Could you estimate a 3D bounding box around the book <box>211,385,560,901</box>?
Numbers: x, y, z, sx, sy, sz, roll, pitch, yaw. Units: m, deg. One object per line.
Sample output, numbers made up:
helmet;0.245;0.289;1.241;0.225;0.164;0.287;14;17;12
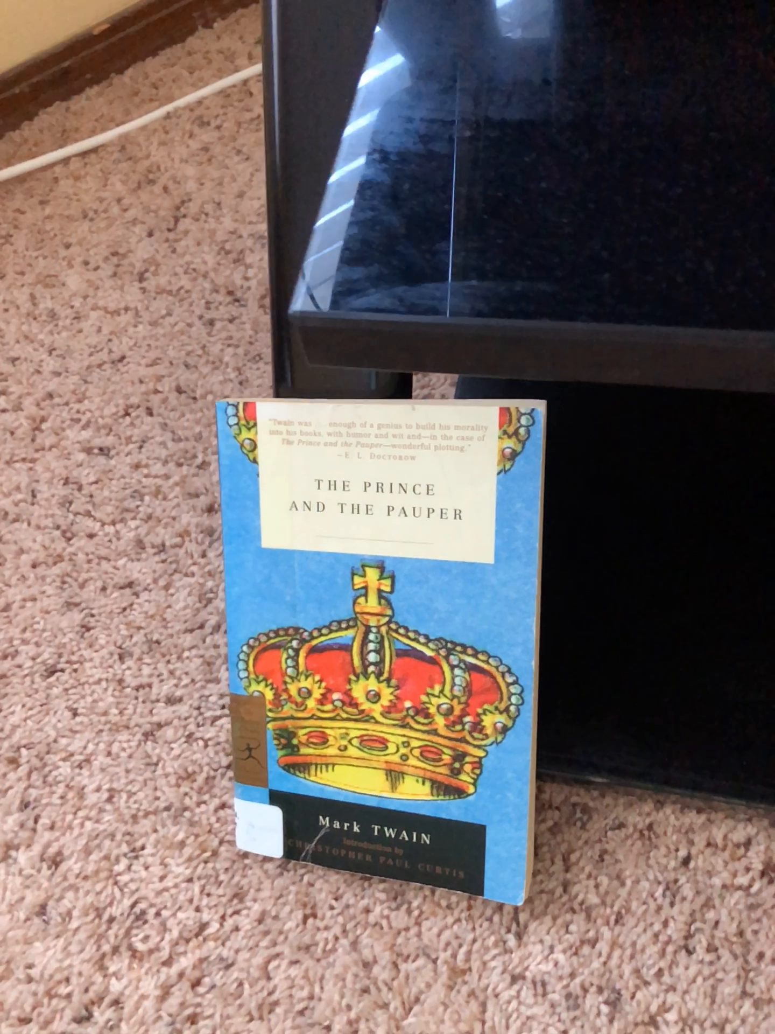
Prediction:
book;-0.005;0.048;0.347;0.130;0.030;0.193;5;102;12
